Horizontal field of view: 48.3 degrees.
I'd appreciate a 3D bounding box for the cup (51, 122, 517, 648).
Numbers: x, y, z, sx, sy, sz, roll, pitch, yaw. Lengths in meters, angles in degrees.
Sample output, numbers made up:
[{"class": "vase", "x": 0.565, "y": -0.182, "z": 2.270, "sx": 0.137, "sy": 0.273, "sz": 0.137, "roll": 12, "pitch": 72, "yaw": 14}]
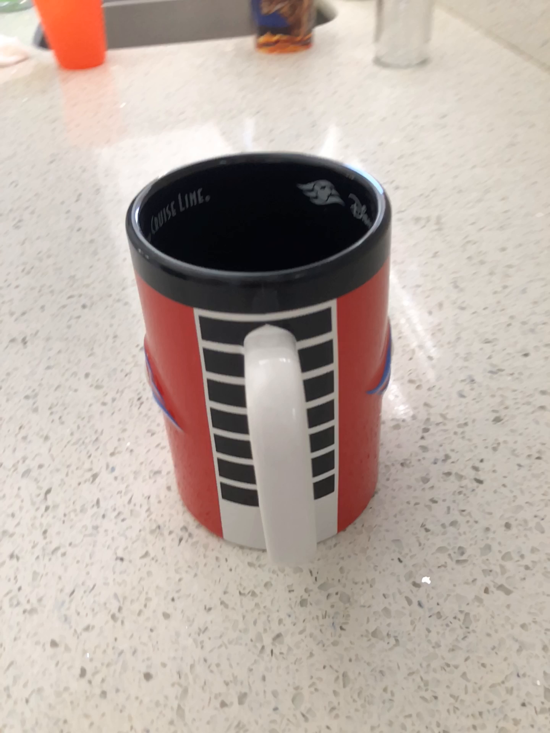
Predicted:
[{"class": "cup", "x": 0.002, "y": 0.001, "z": 0.203, "sx": 0.090, "sy": 0.110, "sz": 0.131, "roll": -4, "pitch": 41, "yaw": 1}]
